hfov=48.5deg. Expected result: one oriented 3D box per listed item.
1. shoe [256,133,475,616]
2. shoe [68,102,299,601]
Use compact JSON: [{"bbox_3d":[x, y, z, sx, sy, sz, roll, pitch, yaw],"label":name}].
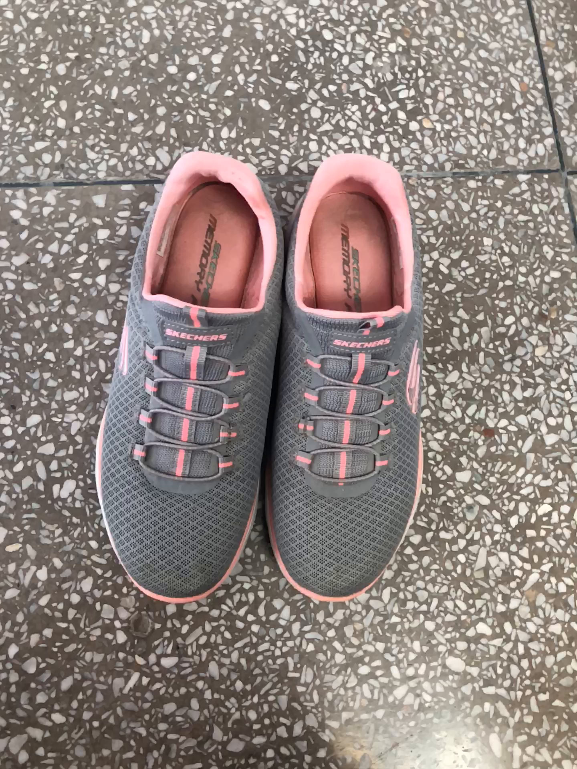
[{"bbox_3d":[0.038,-0.003,0.360,0.090,0.100,0.230,5,83,-5],"label":"shoe"},{"bbox_3d":[-0.053,-0.015,0.362,0.090,0.100,0.240,5,83,-5],"label":"shoe"}]
